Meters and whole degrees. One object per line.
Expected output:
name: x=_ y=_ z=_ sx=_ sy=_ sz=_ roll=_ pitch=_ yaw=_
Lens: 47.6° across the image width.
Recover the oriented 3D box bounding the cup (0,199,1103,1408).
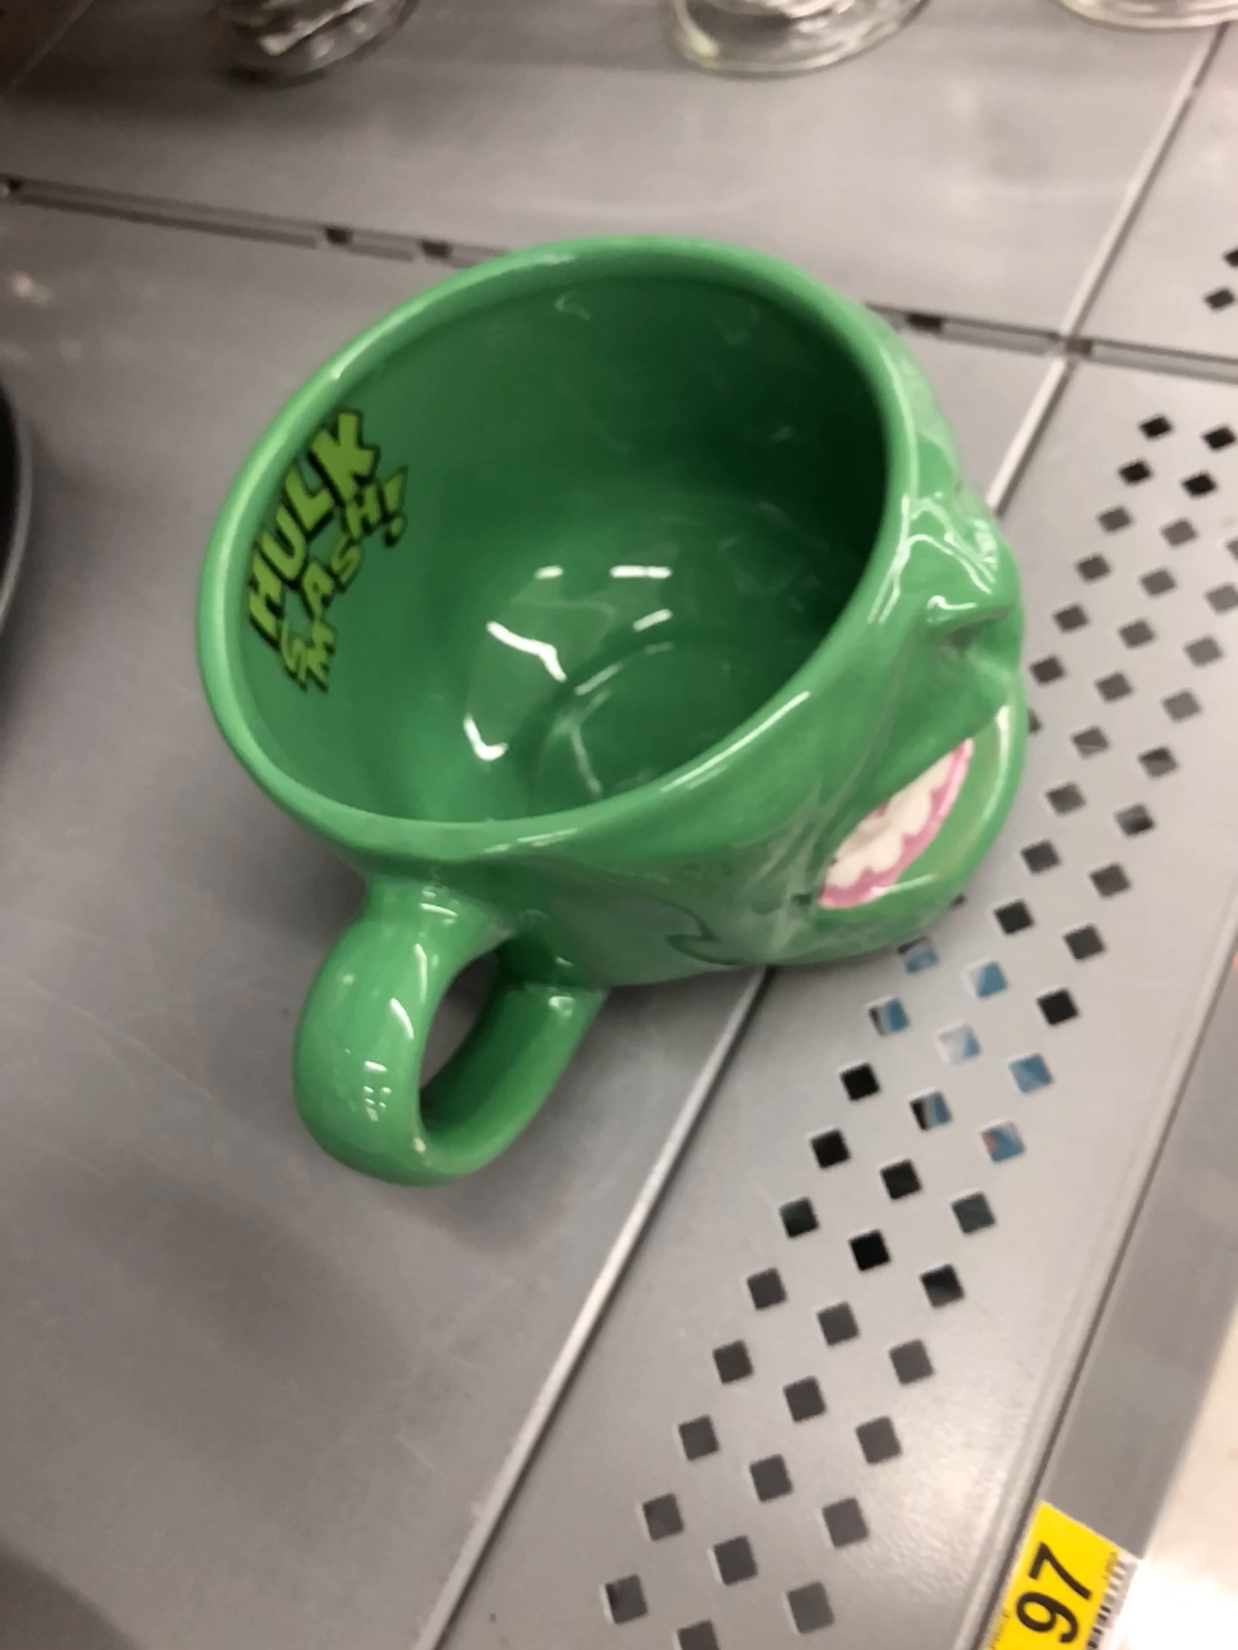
cup: x=-0.004 y=-0.008 z=0.228 sx=0.116 sy=0.089 sz=0.148 roll=17 pitch=68 yaw=24
